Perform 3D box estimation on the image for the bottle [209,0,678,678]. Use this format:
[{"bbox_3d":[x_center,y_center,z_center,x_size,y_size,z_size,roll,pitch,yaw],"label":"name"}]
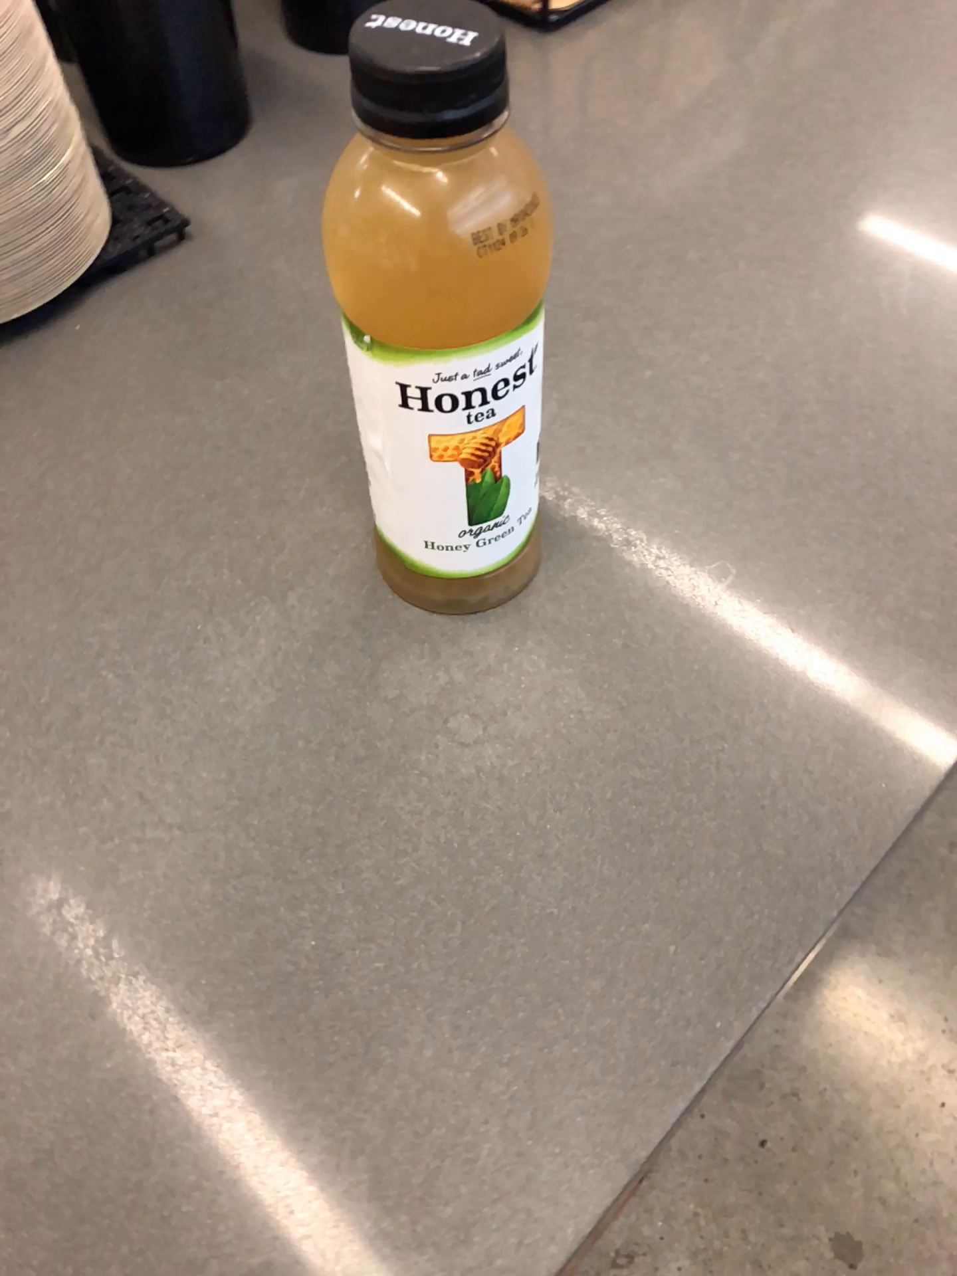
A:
[{"bbox_3d":[-0.008,-0.090,0.348,0.090,0.189,0.090,-1,54,2],"label":"bottle"}]
